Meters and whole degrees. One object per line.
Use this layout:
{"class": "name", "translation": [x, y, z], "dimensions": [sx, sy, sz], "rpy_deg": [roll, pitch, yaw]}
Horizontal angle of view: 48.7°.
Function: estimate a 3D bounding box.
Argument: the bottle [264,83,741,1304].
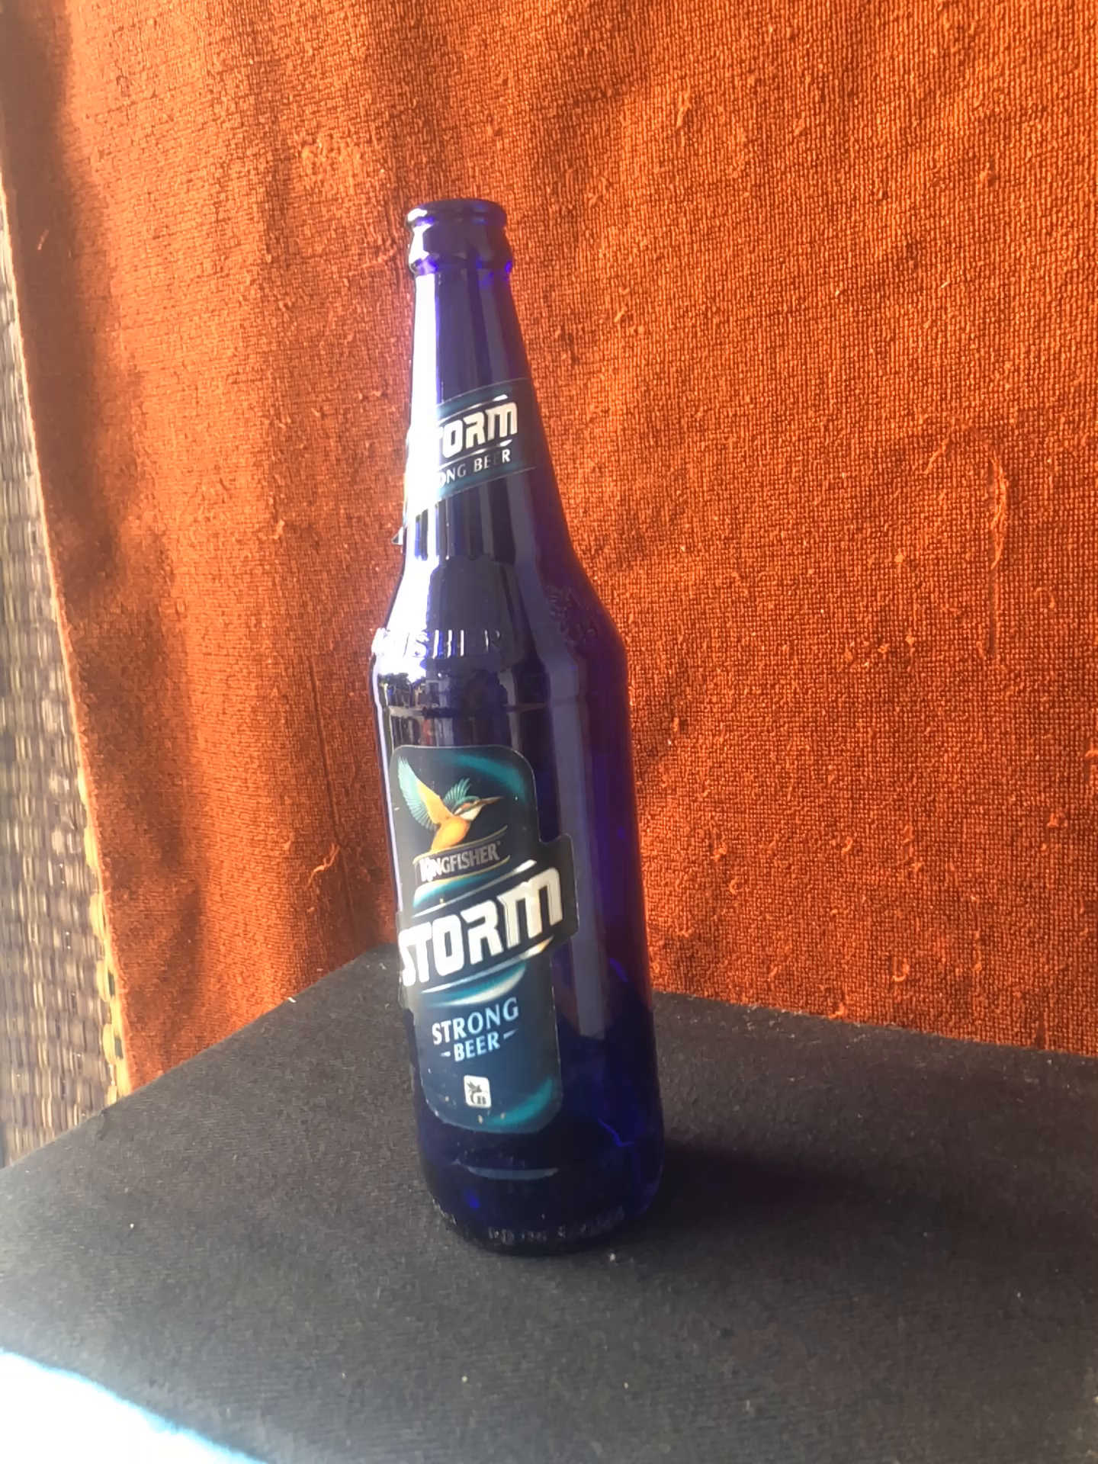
{"class": "bottle", "translation": [-0.002, -0.004, 0.322], "dimensions": [0.080, 0.279, 0.080], "rpy_deg": [-4, 13, 1]}
